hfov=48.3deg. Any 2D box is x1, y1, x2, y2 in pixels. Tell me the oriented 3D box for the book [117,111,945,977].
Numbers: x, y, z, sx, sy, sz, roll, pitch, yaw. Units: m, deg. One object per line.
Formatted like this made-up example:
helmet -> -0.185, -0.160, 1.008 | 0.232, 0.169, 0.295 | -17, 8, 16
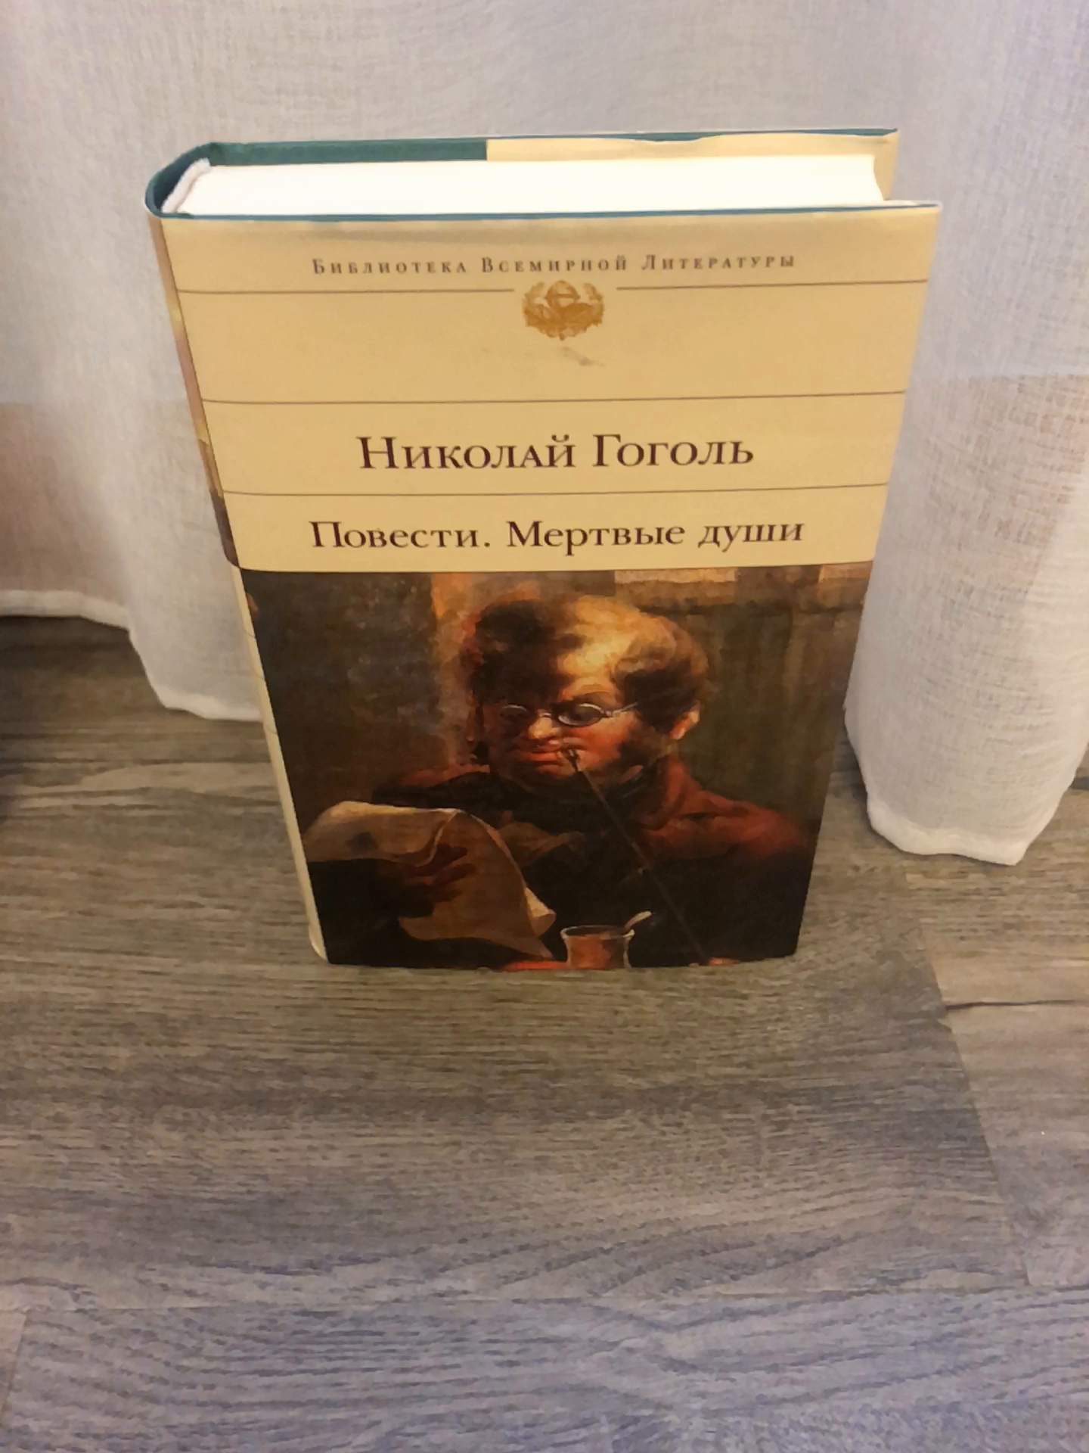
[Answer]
book -> -0.001, -0.022, 0.282 | 0.133, 0.209, 0.041 | -1, 43, 0
